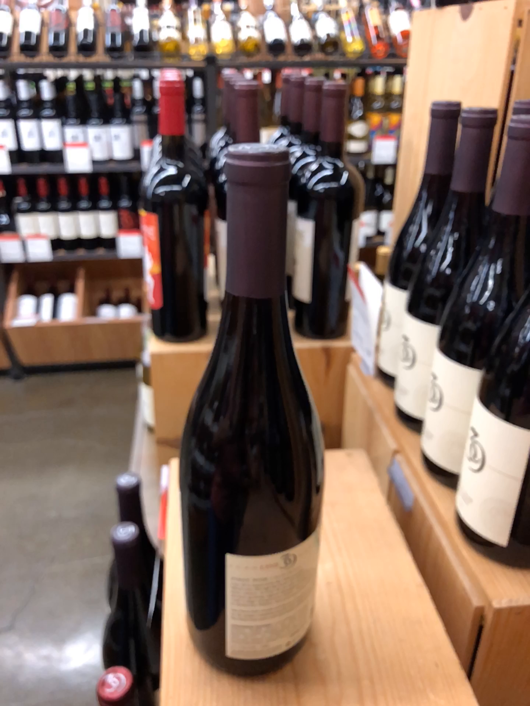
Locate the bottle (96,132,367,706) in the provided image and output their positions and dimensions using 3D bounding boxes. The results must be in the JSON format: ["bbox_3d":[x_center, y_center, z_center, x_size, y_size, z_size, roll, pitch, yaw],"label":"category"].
[{"bbox_3d":[-0.015,0.041,0.310,0.080,0.283,0.080,0,26,0],"label":"bottle"}]
